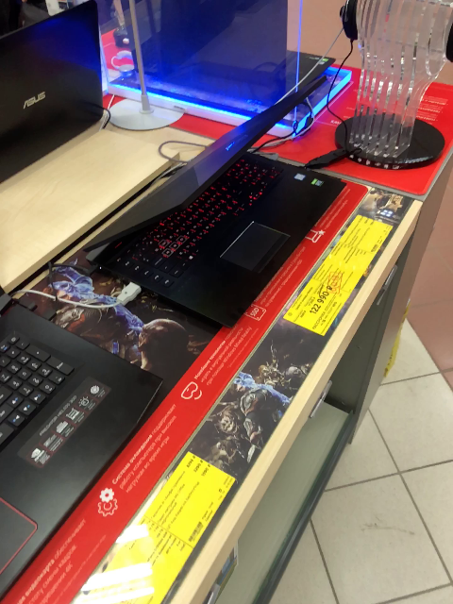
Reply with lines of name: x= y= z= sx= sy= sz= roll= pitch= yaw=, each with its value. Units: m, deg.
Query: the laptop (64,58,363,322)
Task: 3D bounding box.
laptop: x=0.003 y=-0.204 z=0.785 sx=0.258 sy=0.166 sz=0.396 roll=24 pitch=52 yaw=22
